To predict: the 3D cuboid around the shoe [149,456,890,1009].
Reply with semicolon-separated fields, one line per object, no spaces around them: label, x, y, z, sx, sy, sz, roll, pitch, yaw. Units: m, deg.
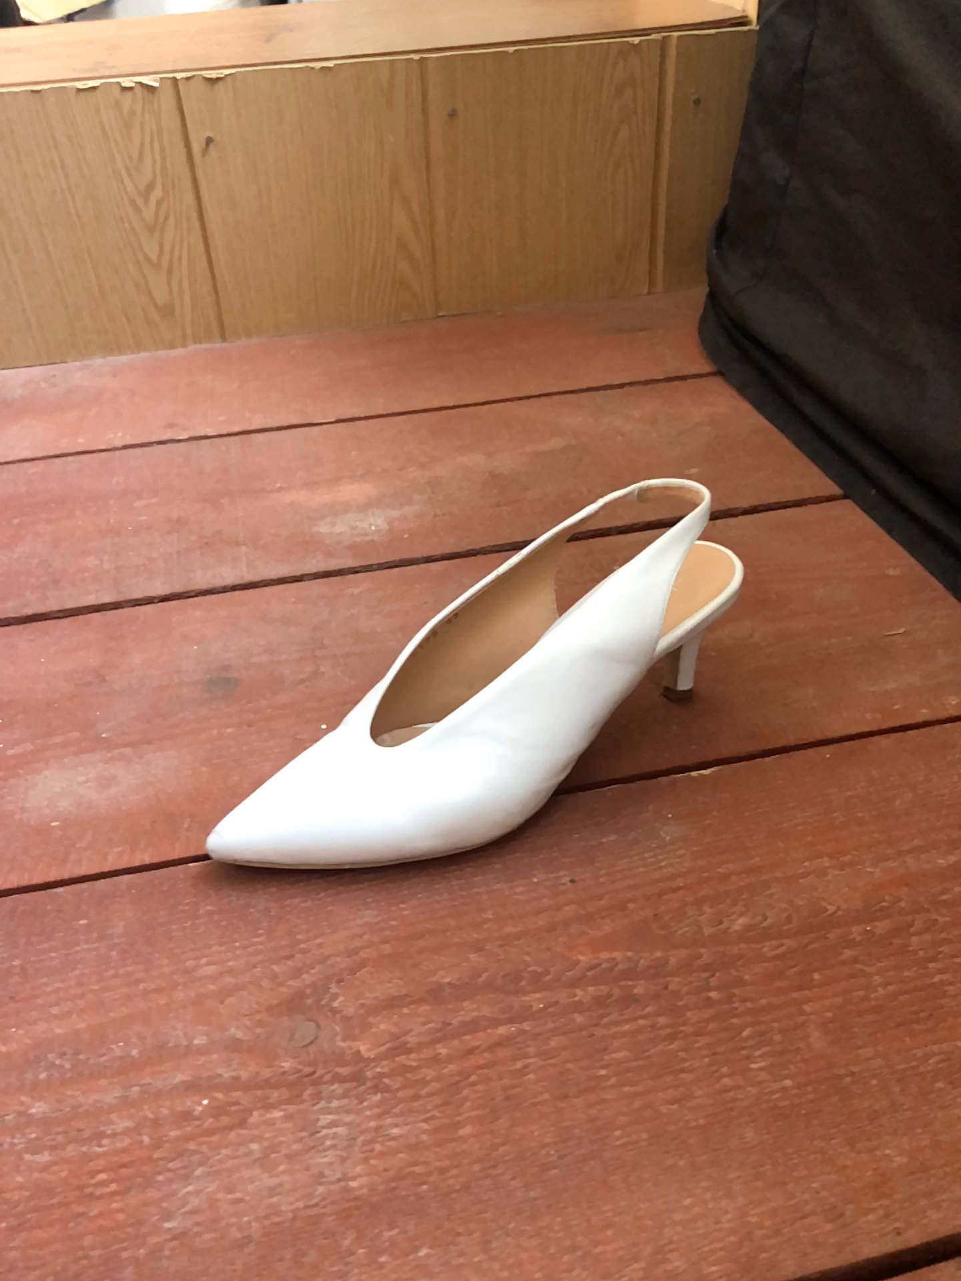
shoe;0.019;0.019;0.392;0.240;0.080;0.100;-21;39;-22
